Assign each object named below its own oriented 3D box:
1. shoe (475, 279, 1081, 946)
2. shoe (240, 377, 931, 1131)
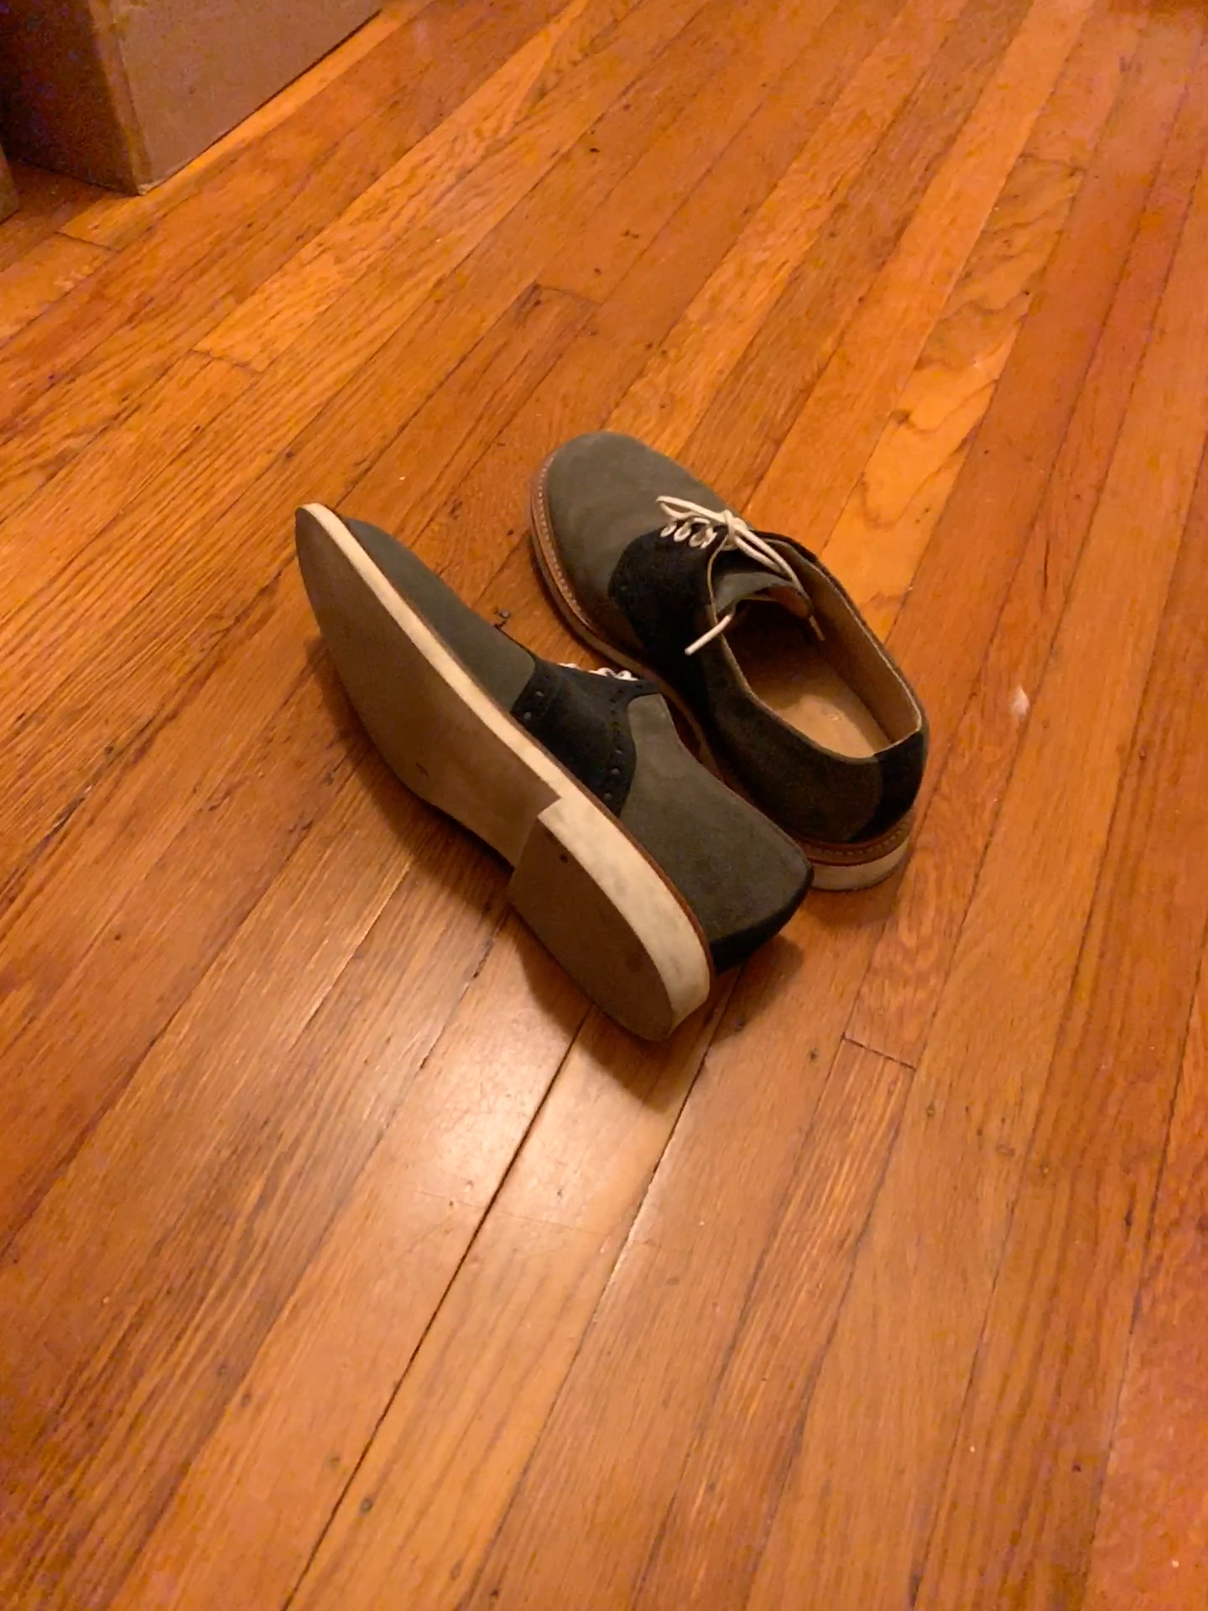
[{"bbox_3d":[0.059,-0.106,0.583,0.130,0.100,0.311,-19,58,-17],"label":"shoe"},{"bbox_3d":[-0.026,-0.036,0.550,0.120,0.129,0.311,-28,61,-24],"label":"shoe"}]
